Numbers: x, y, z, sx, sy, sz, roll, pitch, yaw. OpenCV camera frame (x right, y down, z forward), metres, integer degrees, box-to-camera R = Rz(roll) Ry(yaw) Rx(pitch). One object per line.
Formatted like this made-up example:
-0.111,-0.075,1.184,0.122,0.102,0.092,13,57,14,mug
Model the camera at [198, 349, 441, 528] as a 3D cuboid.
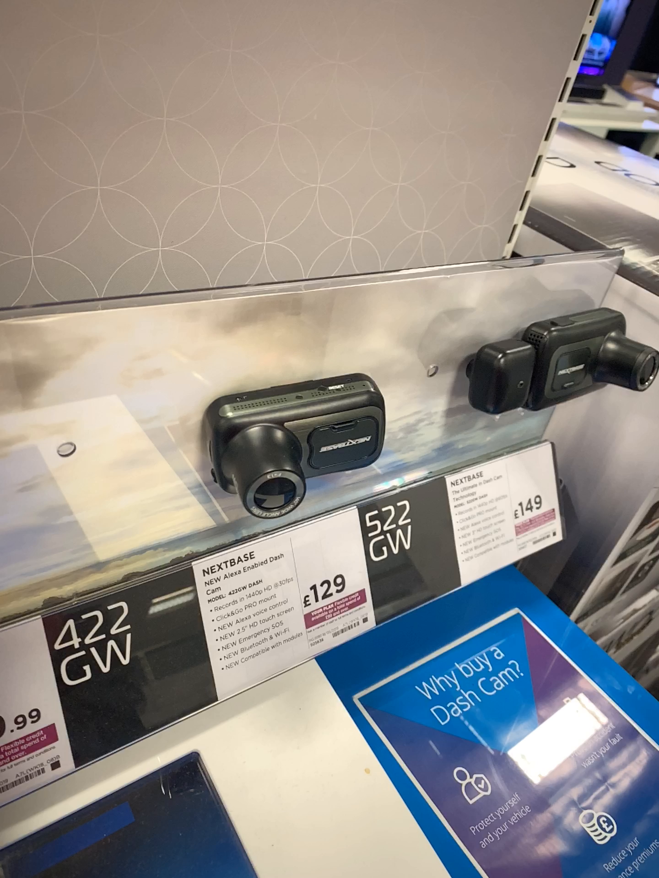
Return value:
-0.005,-0.003,0.293,0.090,0.040,0.050,-11,37,-15,camera
